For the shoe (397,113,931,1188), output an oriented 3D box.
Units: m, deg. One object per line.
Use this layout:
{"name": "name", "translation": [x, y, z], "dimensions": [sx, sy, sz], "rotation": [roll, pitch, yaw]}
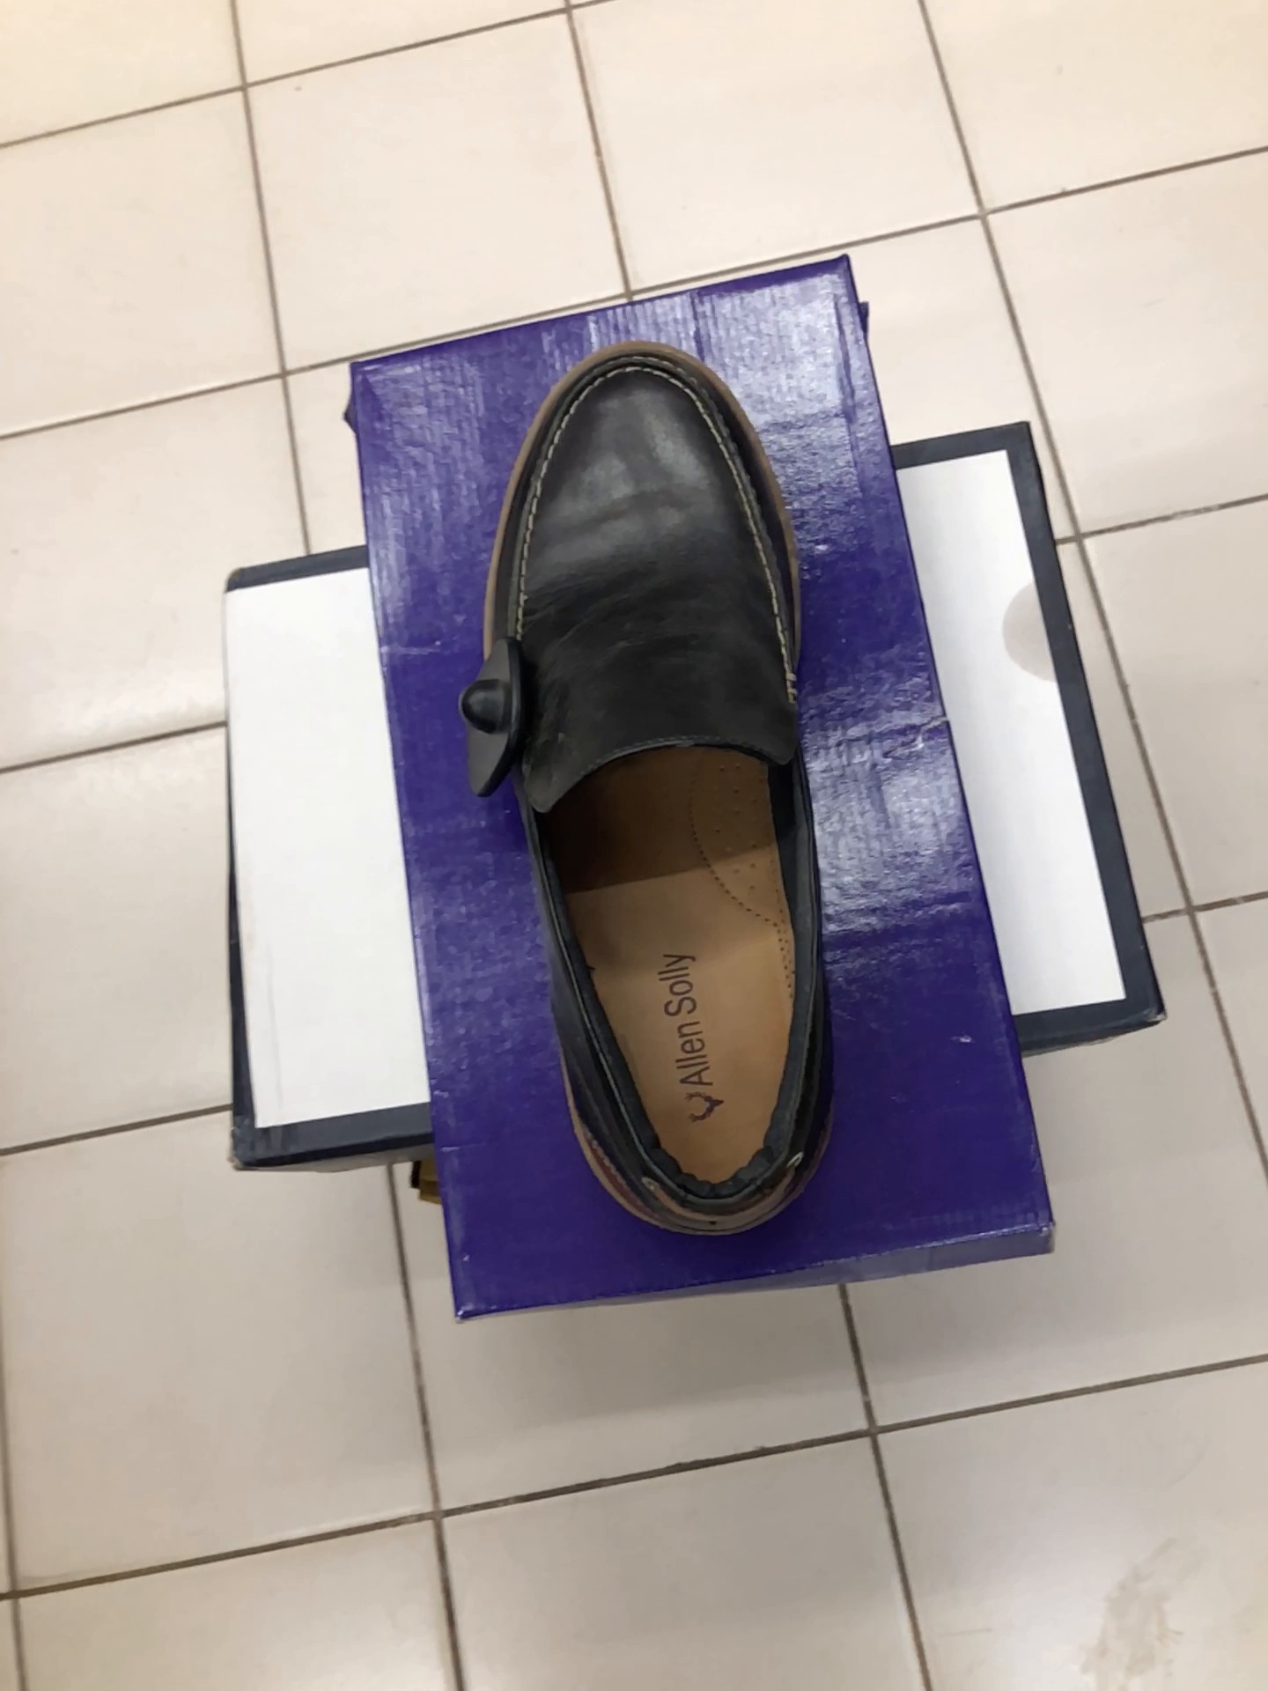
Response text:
{"name": "shoe", "translation": [0.006, -0.054, 0.438], "dimensions": [0.100, 0.110, 0.300], "rotation": [-10, 75, 3]}
